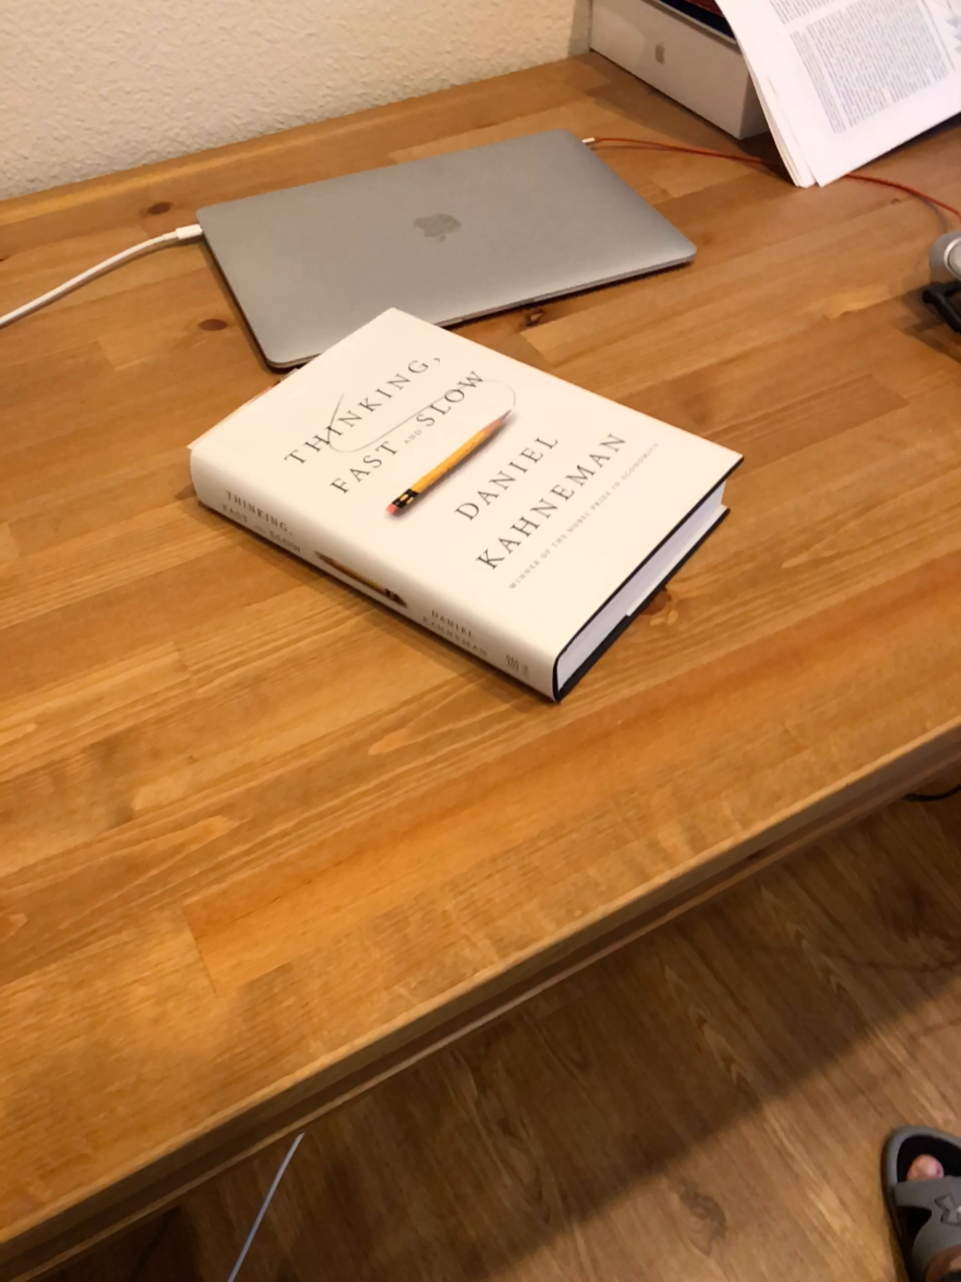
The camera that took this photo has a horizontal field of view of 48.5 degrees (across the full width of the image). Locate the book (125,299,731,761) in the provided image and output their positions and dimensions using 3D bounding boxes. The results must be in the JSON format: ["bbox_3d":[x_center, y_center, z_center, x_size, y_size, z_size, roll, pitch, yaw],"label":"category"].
[{"bbox_3d":[-0.028,-0.075,0.562,0.250,0.060,0.180,29,56,26],"label":"book"}]
